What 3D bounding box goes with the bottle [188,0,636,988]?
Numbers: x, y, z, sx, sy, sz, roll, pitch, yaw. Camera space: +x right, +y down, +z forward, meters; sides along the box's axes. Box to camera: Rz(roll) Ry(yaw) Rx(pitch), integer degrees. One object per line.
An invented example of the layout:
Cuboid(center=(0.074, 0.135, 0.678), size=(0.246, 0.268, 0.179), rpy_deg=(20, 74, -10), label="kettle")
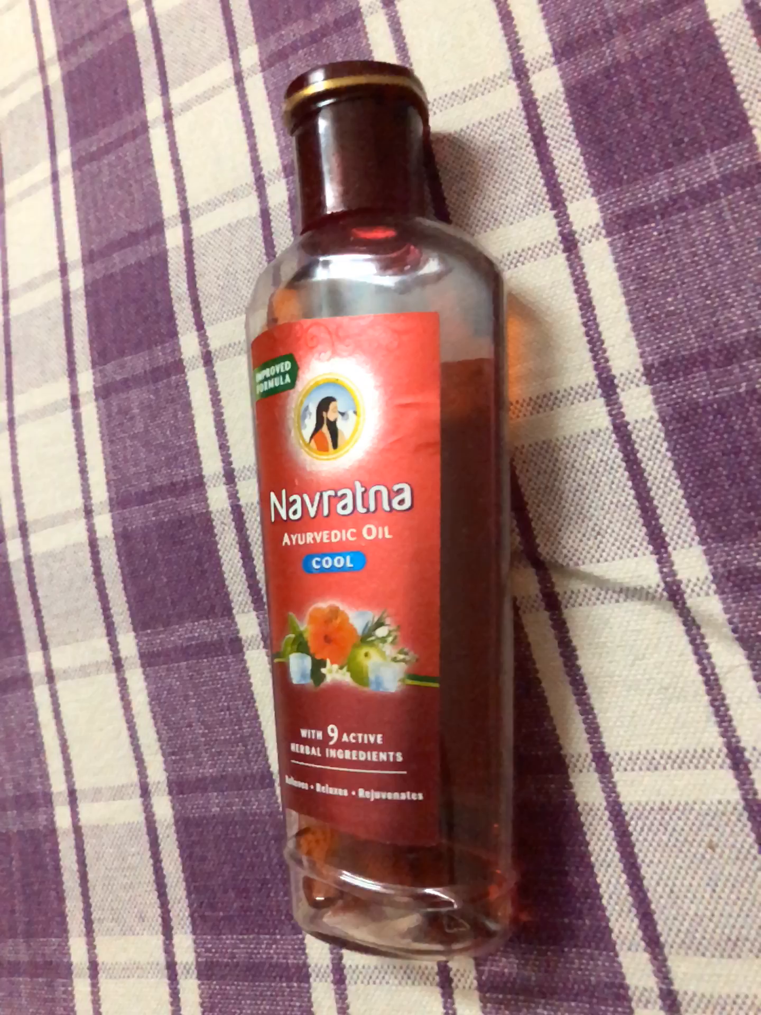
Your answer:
Cuboid(center=(0.004, -0.015, 0.190), size=(0.070, 0.050, 0.200), rpy_deg=(-9, 80, 31), label="bottle")
